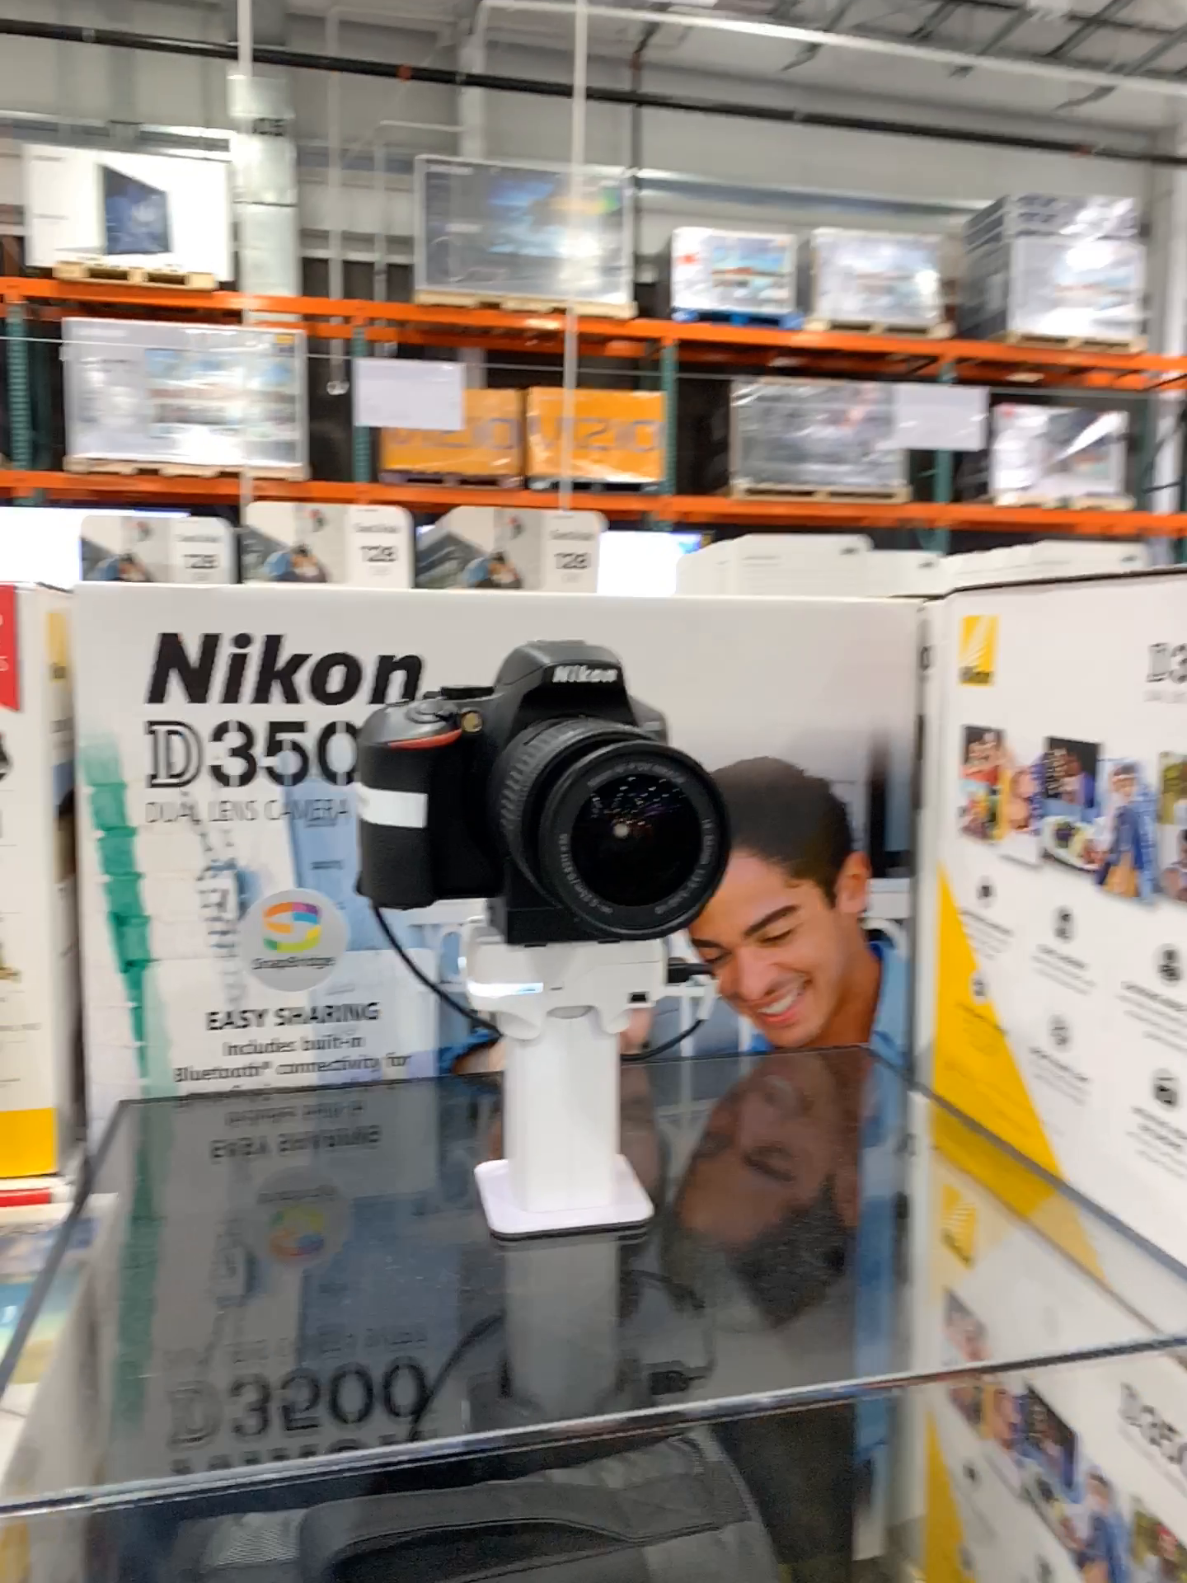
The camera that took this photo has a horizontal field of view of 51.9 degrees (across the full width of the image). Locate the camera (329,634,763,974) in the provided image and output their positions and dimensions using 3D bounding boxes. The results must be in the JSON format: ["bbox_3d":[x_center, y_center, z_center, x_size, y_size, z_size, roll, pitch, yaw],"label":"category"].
[{"bbox_3d":[-0.028,-0.005,0.443,0.130,0.100,0.150,-1,7,-13],"label":"camera"}]
